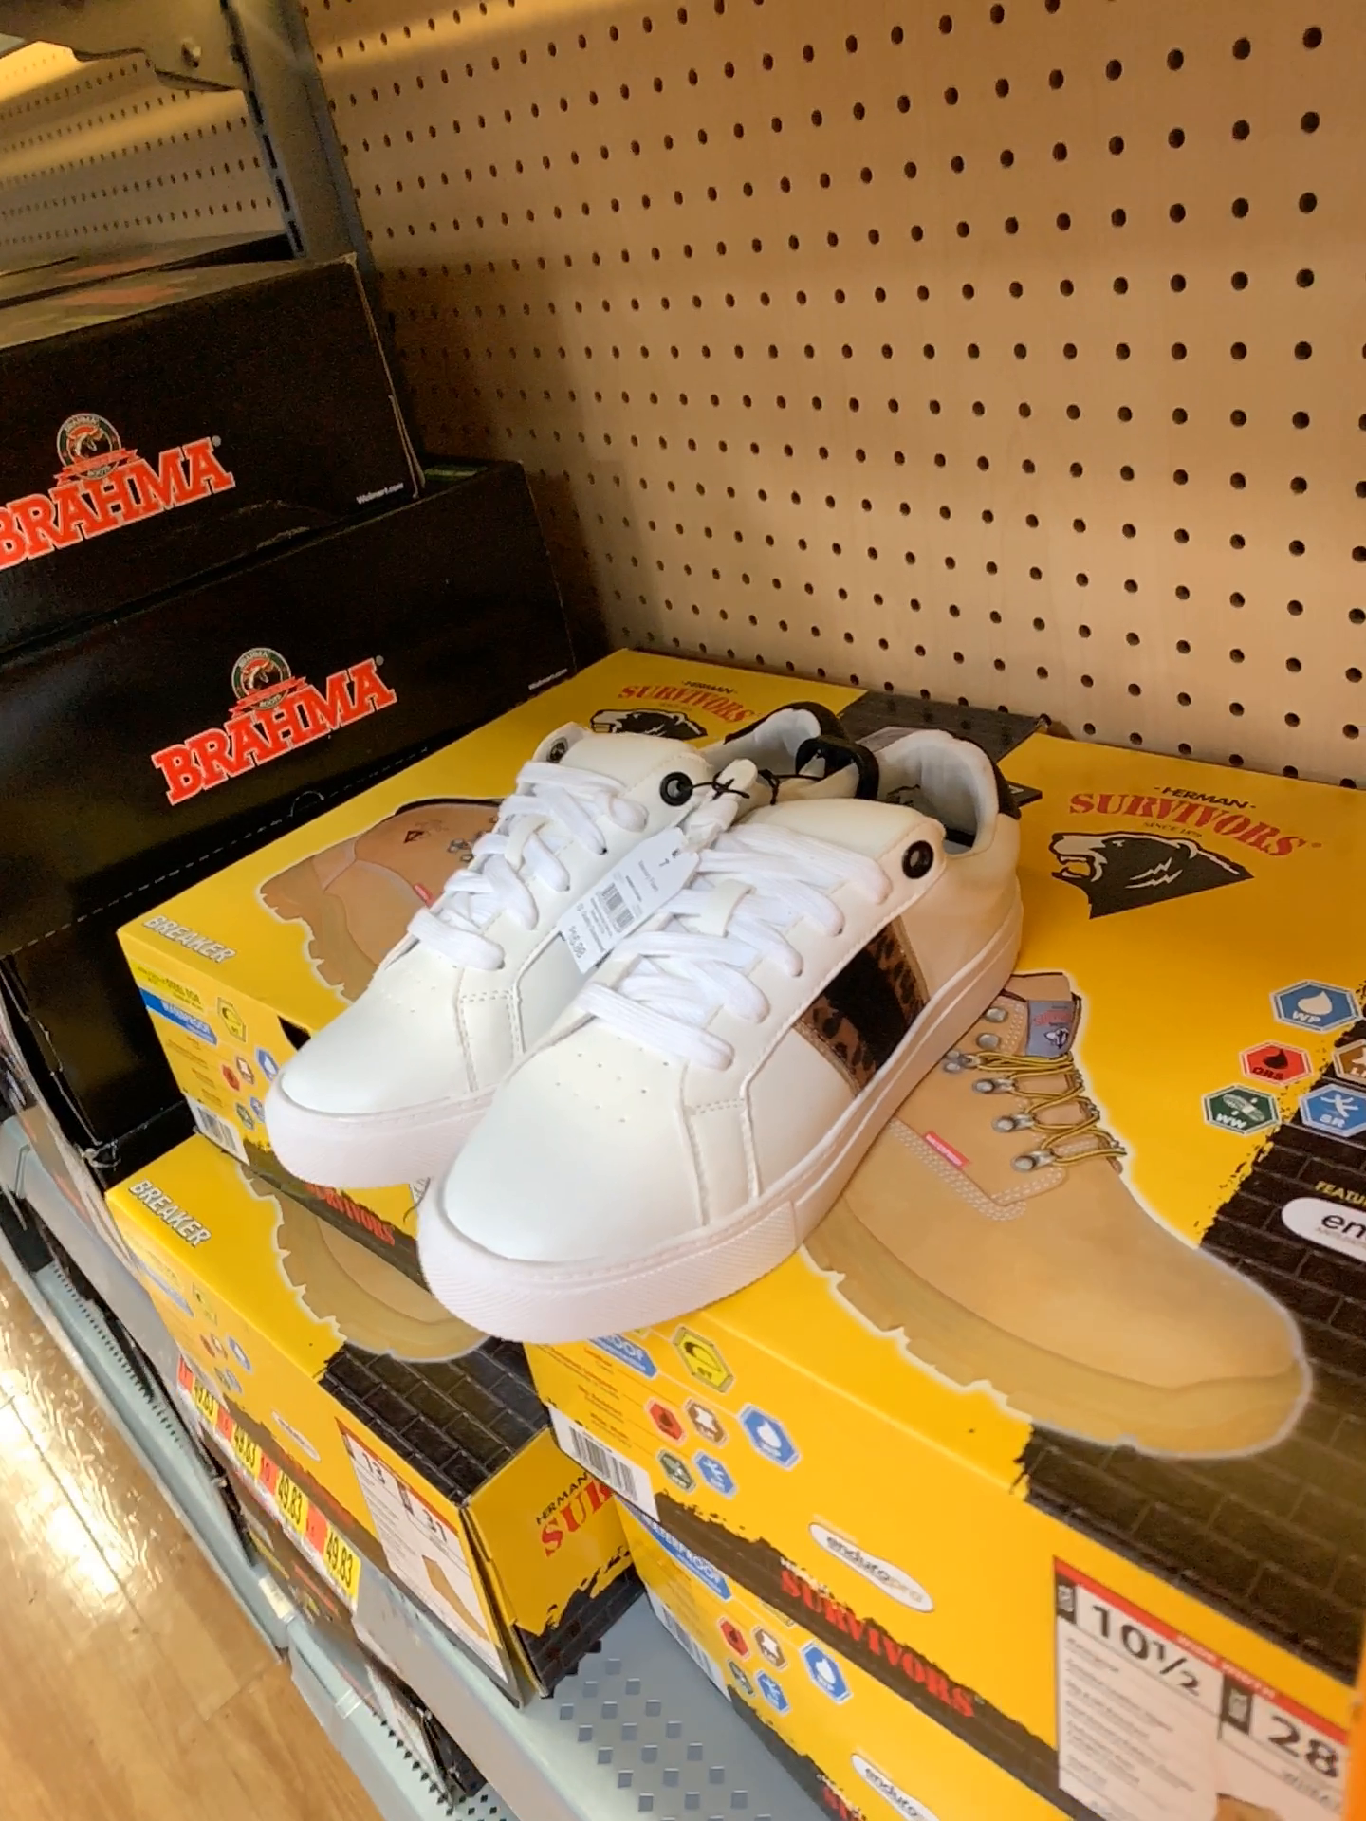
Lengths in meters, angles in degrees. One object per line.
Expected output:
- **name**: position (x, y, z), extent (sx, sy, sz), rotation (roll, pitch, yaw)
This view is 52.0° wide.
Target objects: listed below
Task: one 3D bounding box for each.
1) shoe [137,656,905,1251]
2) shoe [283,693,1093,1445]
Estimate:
- **shoe**: position (-0.046, -0.001, 0.492), extent (0.245, 0.072, 0.100), rotation (-32, 36, -28)
- **shoe**: position (0.017, 0.026, 0.422), extent (0.103, 0.070, 0.241), rotation (21, 45, 37)
